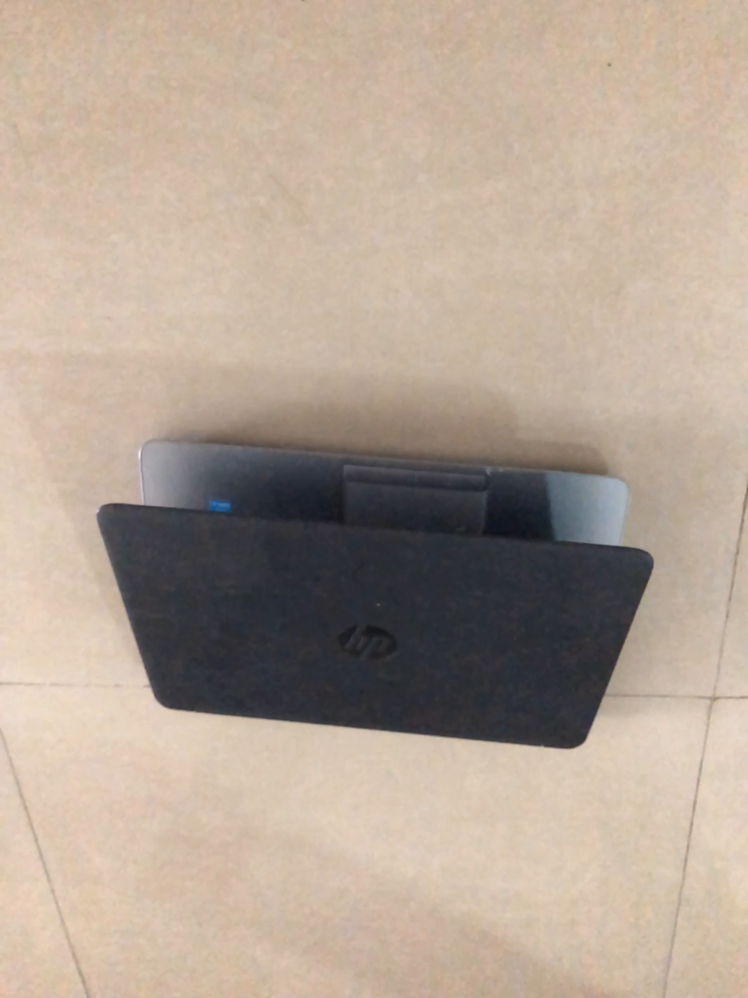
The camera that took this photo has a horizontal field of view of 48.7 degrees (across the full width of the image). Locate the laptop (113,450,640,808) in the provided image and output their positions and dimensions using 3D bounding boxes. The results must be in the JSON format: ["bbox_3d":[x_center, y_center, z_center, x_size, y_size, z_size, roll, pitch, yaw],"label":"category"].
[{"bbox_3d":[-0.002,0.091,0.566,0.304,0.085,0.215,5,120,3],"label":"laptop"}]
